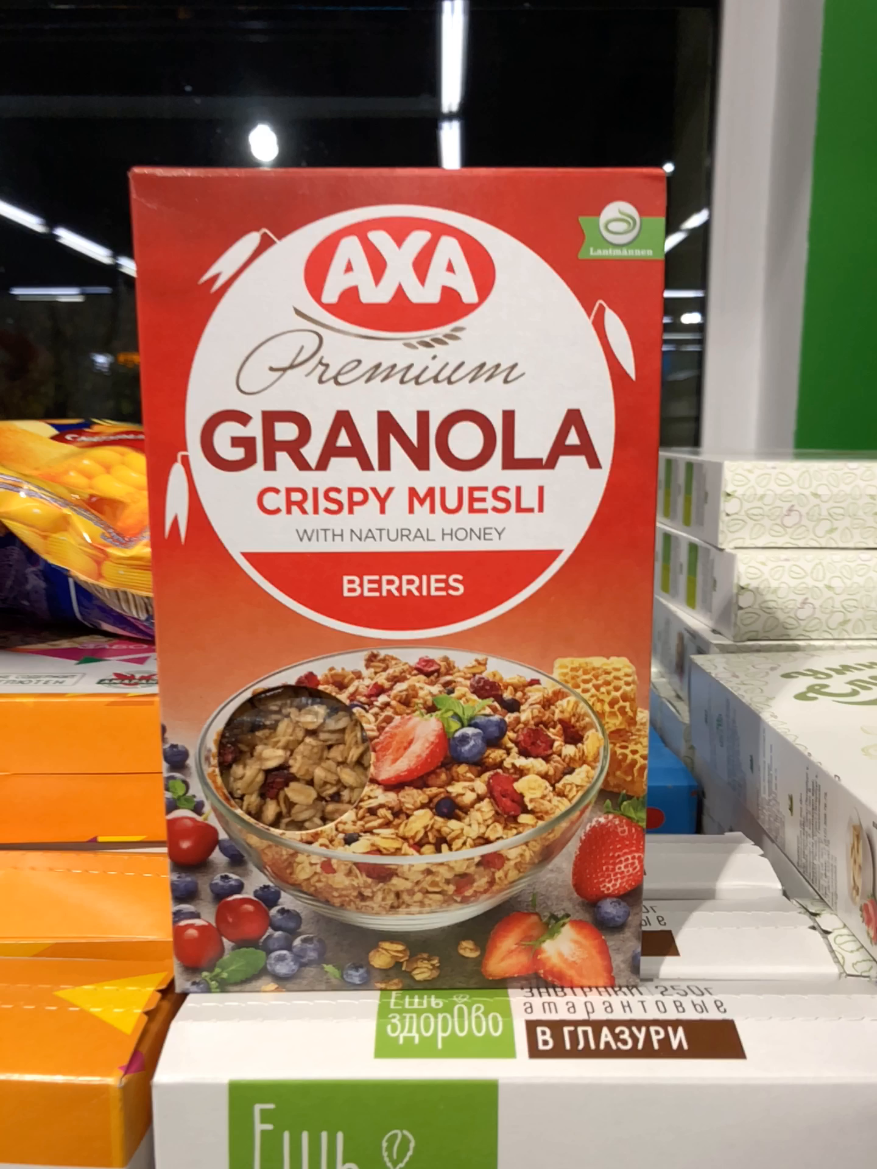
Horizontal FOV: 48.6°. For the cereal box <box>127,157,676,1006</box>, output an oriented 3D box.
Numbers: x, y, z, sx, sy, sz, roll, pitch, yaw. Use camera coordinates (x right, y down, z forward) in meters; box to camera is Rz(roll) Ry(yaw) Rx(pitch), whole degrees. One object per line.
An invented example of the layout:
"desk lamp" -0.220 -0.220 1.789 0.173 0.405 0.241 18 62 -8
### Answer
"cereal box" -0.010 0.003 0.273 0.130 0.219 0.050 0 10 -1
